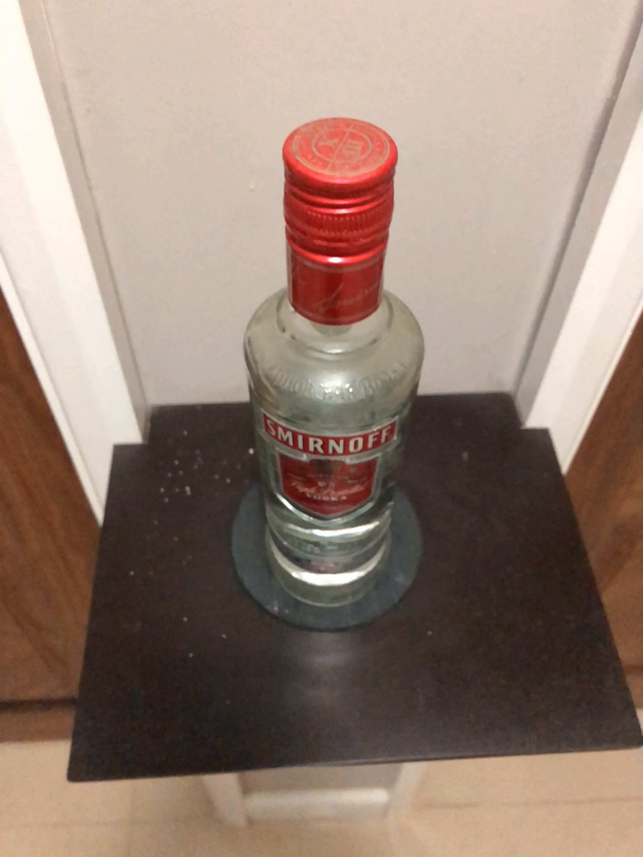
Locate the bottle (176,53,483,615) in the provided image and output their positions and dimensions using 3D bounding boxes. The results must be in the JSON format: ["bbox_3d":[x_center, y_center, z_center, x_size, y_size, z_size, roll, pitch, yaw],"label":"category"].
[{"bbox_3d":[0.002,-0.011,0.272,0.070,0.219,0.070,1,51,-1],"label":"bottle"}]
